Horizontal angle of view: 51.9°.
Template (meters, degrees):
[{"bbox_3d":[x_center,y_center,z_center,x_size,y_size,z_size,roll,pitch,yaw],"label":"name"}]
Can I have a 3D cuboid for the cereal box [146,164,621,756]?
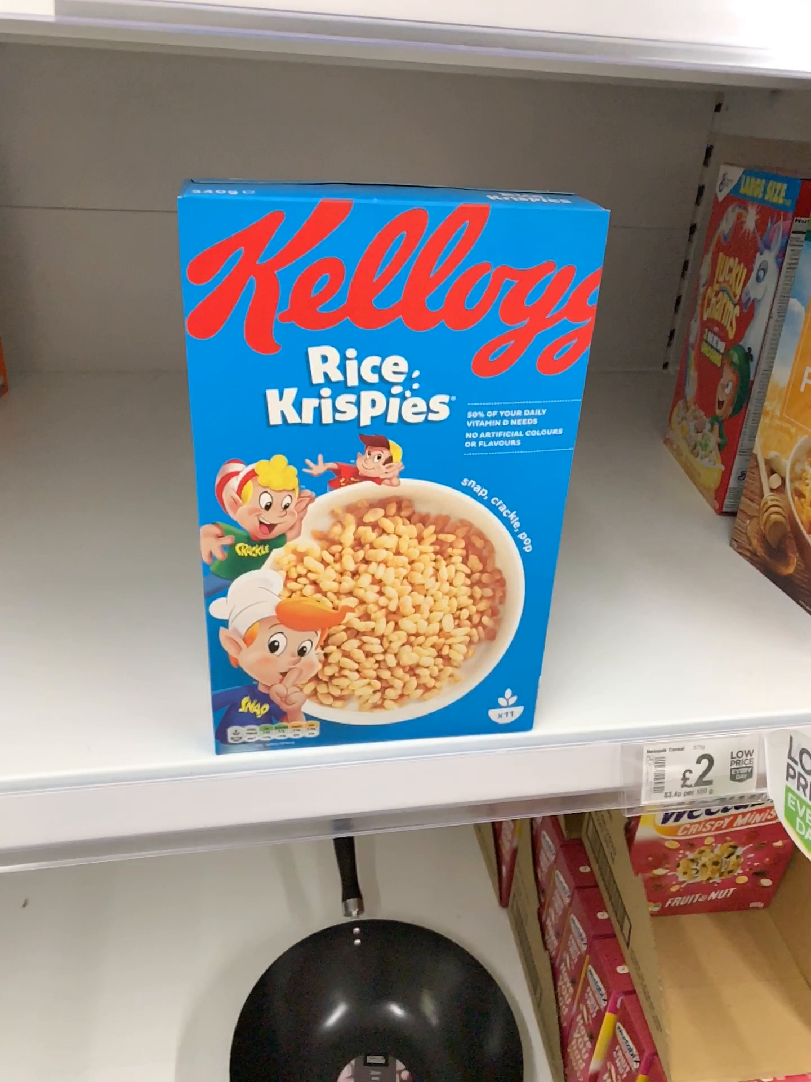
[{"bbox_3d":[-0.019,-0.031,0.446,0.200,0.297,0.071,-2,28,-10],"label":"cereal box"}]
